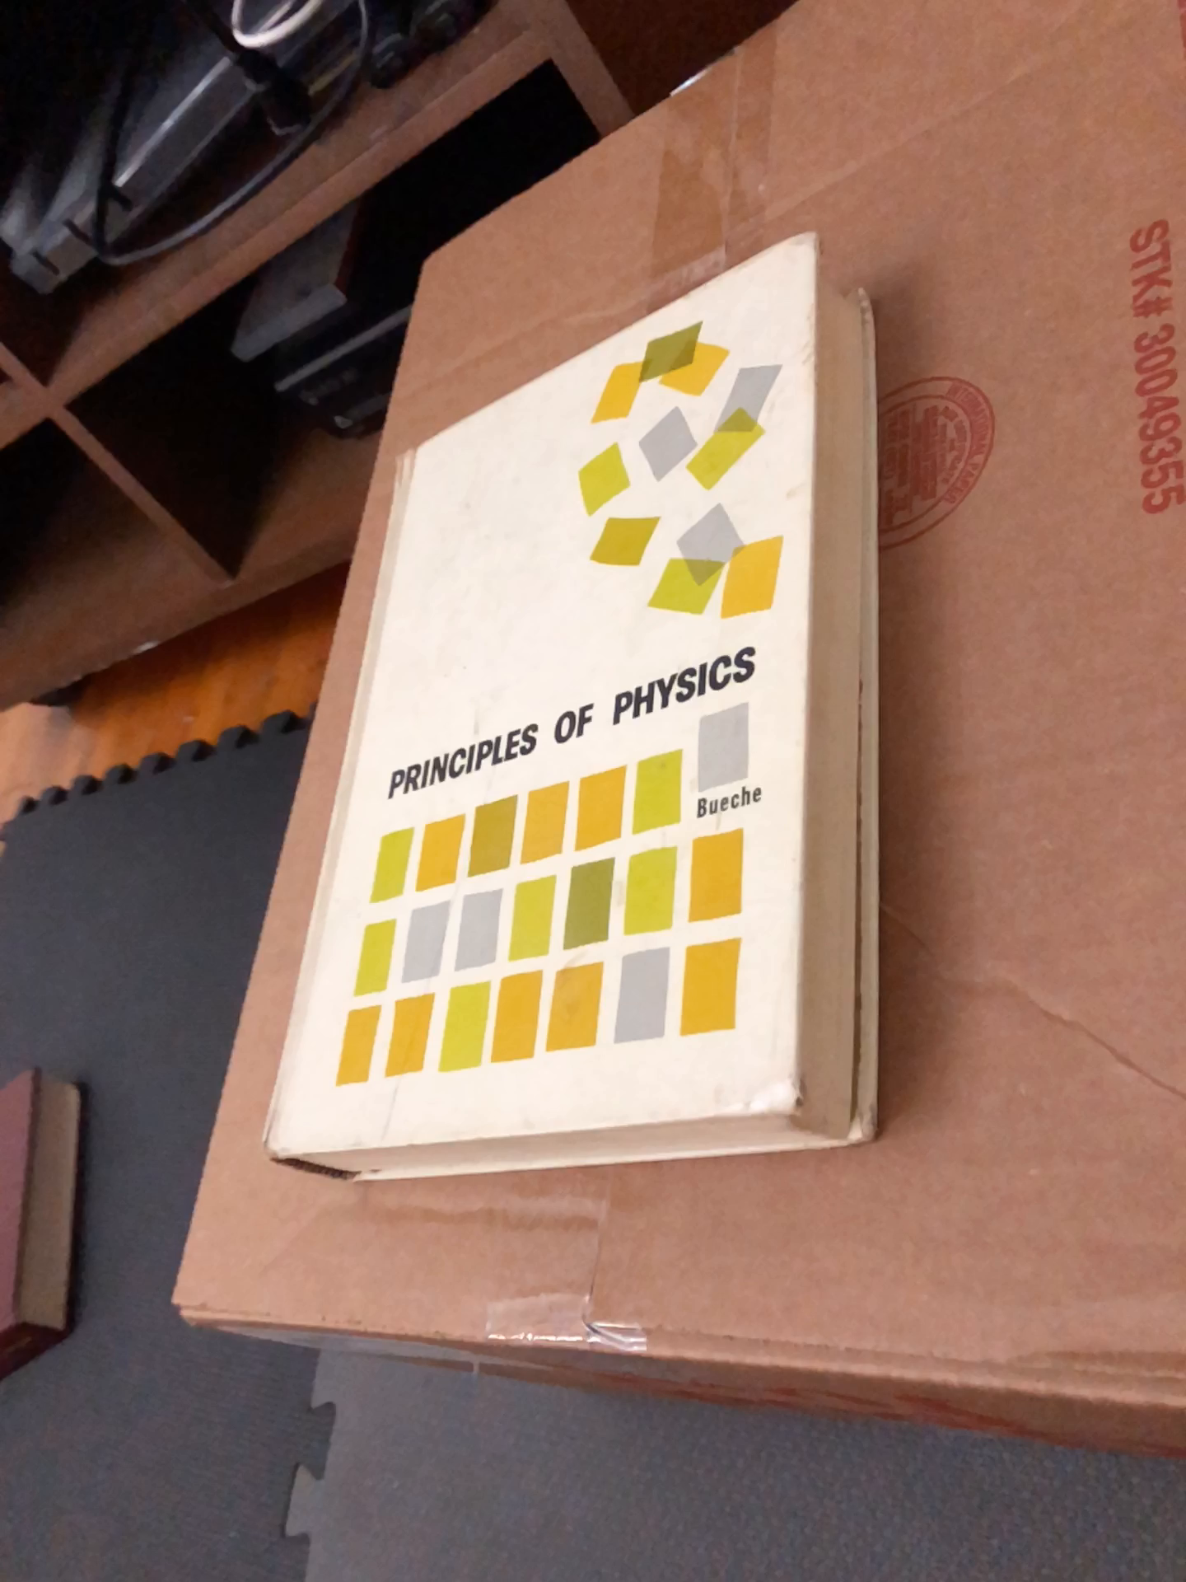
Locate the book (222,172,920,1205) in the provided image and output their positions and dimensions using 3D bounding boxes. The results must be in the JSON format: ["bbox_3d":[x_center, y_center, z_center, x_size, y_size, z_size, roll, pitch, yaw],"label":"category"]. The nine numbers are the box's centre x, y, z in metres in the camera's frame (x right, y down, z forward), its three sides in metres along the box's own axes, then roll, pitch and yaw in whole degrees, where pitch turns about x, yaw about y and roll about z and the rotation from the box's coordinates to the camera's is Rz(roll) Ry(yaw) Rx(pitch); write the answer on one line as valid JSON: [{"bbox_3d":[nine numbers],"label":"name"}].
[{"bbox_3d":[-0.004,-0.022,0.355,0.180,0.040,0.251,-16,56,39],"label":"book"}]
